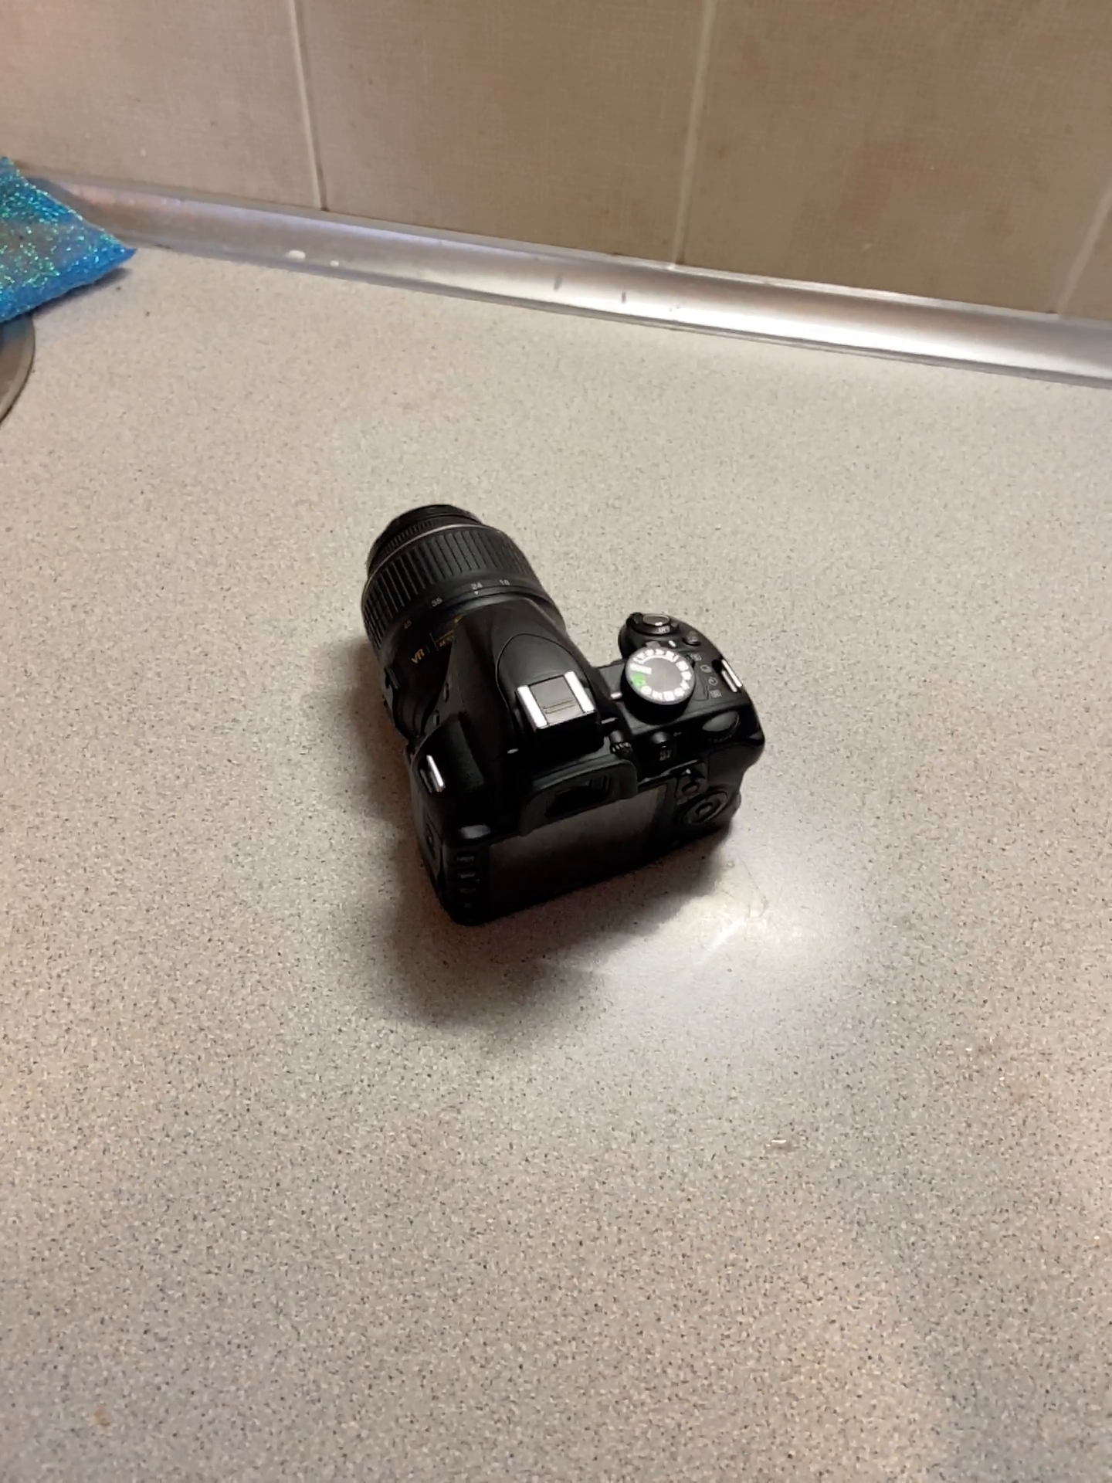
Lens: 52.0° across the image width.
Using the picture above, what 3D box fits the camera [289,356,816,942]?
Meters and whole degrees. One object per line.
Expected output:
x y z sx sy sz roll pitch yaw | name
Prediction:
-0.010 -0.041 0.427 0.122 0.091 0.178 -18 57 -15 | camera
